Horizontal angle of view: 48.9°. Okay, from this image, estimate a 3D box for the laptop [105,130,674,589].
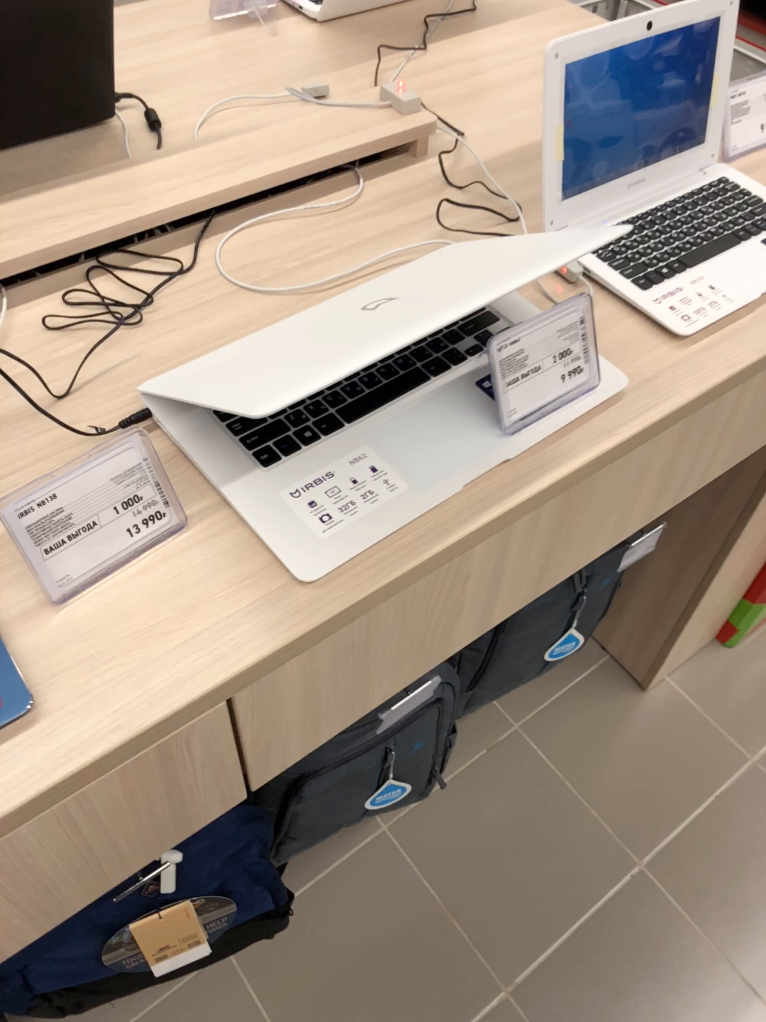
[{"bbox_3d":[0.011,-0.139,0.651,0.351,0.115,0.224,-31,61,-25],"label":"laptop"}]

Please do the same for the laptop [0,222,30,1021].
[{"bbox_3d":[-0.431,0.034,0.454,0.310,0.162,0.319,-29,58,-25],"label":"laptop"}]

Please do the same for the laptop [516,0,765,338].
[{"bbox_3d":[0.312,-0.346,0.806,0.263,0.168,0.231,-28,58,-22],"label":"laptop"}]
